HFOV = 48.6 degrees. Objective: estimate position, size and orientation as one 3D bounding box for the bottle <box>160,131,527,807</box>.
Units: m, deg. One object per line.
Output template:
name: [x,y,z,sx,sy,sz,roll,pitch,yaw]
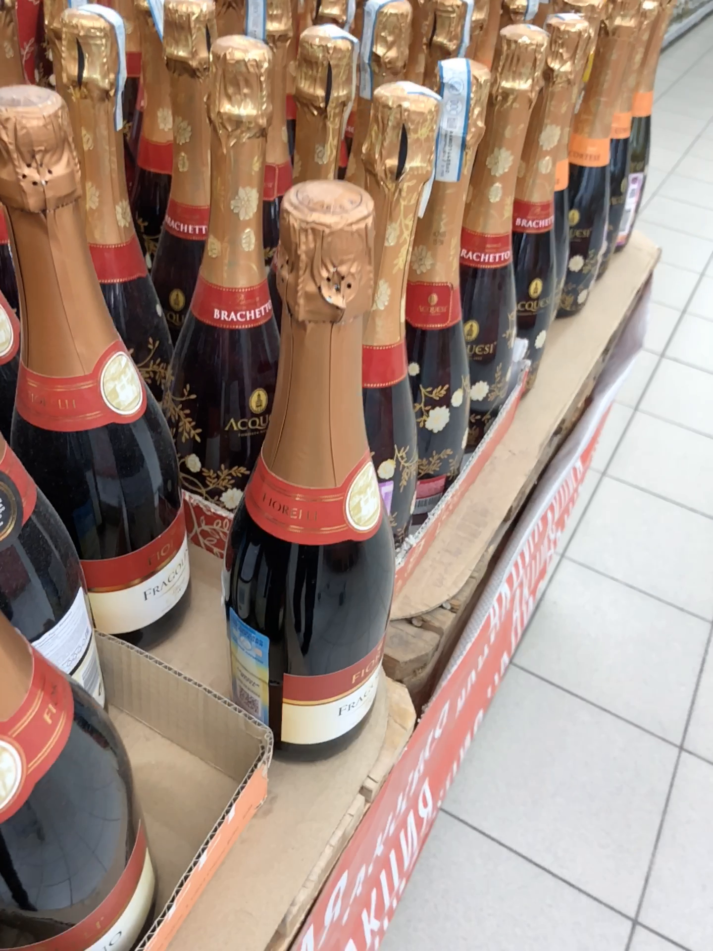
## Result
bottle: [-0.015,0.020,0.358,0.090,0.298,0.091,4,41,-4]
